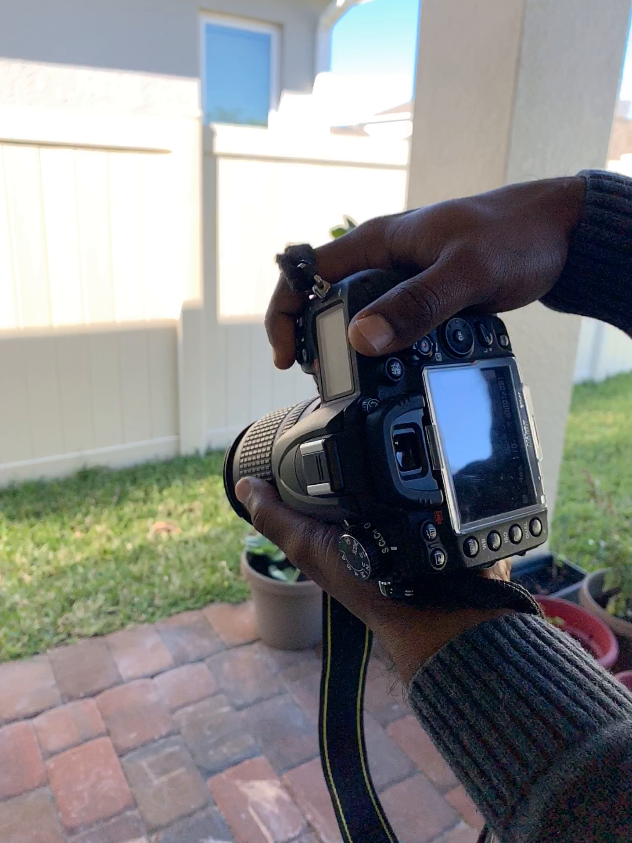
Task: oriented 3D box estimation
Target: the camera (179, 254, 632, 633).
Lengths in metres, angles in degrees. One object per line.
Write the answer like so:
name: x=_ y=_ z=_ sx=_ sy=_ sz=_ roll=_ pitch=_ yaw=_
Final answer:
camera: x=0.024 y=0.007 z=0.286 sx=0.090 sy=0.110 sz=0.170 roll=-10 pitch=1 yaw=-33
